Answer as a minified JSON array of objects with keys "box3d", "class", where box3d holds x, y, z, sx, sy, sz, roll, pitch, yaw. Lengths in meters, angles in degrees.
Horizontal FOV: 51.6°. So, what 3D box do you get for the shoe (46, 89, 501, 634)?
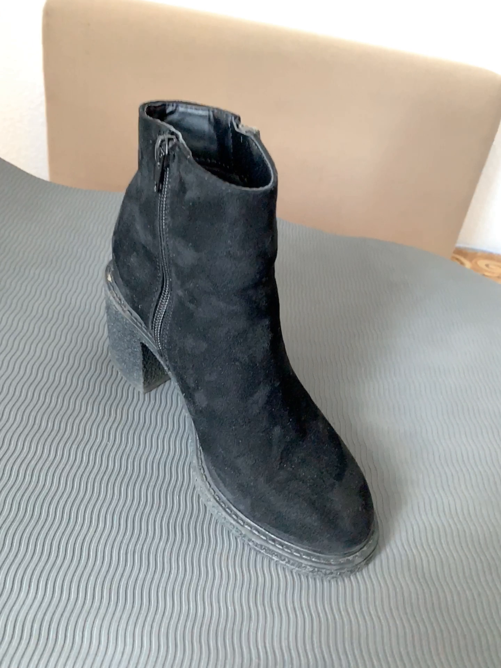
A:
[{"box3d":[-0.006,-0.007,0.289,0.098,0.179,0.241,-22,47,-37],"class":"shoe"}]
